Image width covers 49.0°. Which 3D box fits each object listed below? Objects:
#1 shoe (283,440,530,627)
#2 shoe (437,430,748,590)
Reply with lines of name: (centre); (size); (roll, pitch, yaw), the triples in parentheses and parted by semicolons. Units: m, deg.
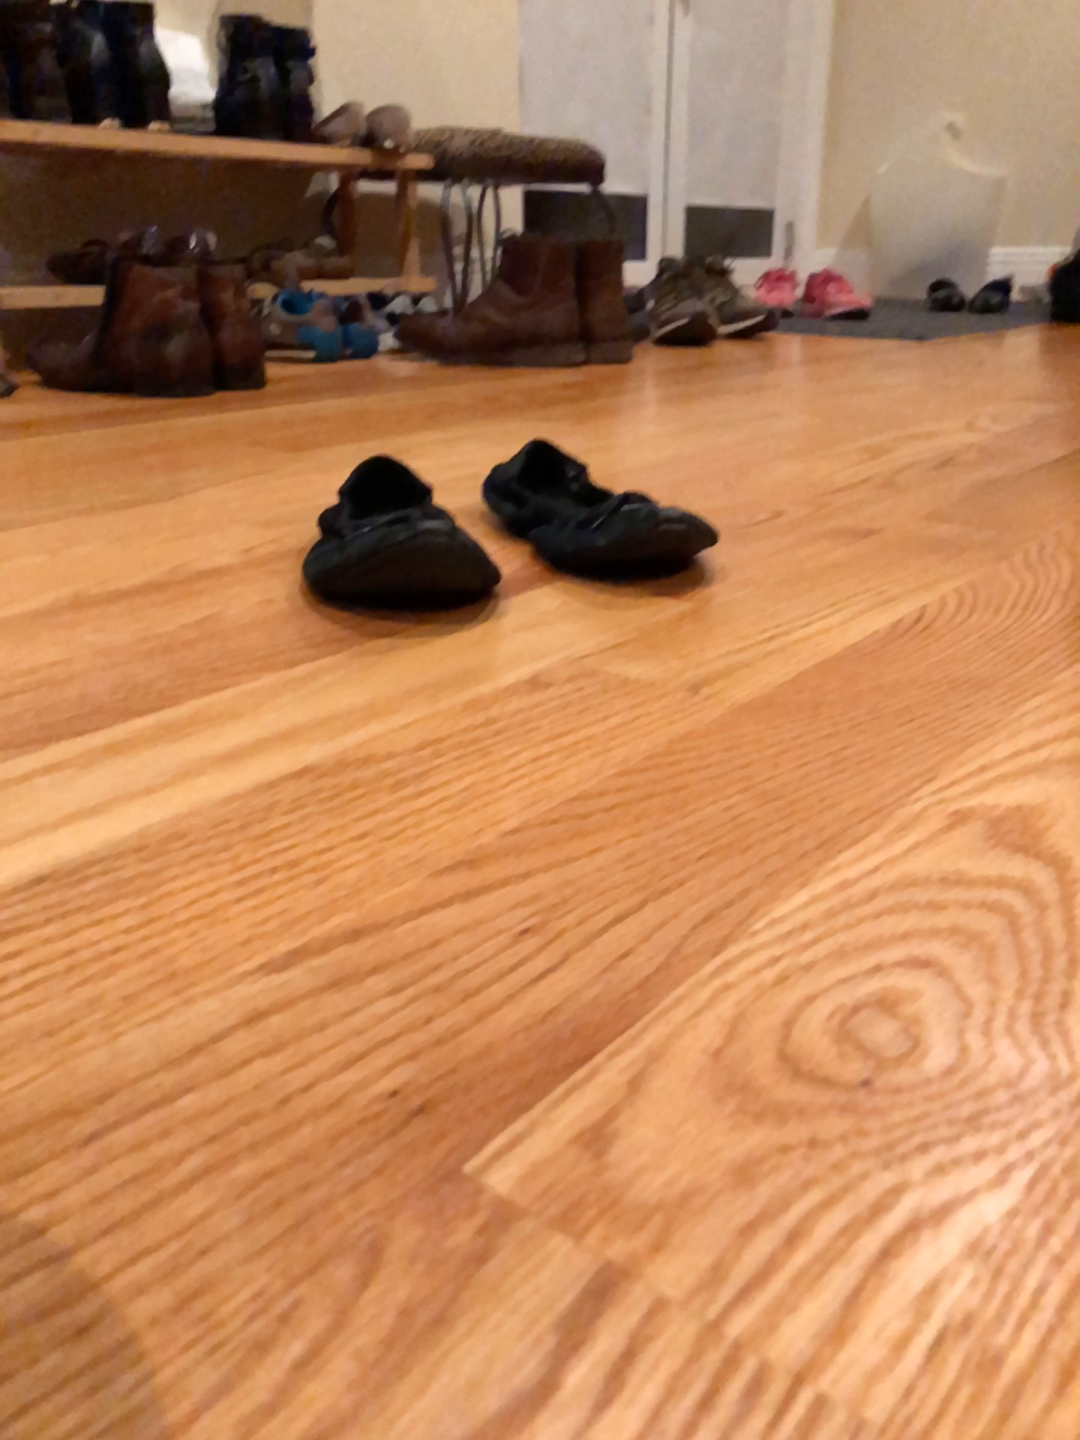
shoe: (-0.081, -0.109, 0.645); (0.100, 0.050, 0.221); (-5, 22, -13)
shoe: (0.020, -0.130, 0.696); (0.093, 0.046, 0.221); (-9, 23, -22)
